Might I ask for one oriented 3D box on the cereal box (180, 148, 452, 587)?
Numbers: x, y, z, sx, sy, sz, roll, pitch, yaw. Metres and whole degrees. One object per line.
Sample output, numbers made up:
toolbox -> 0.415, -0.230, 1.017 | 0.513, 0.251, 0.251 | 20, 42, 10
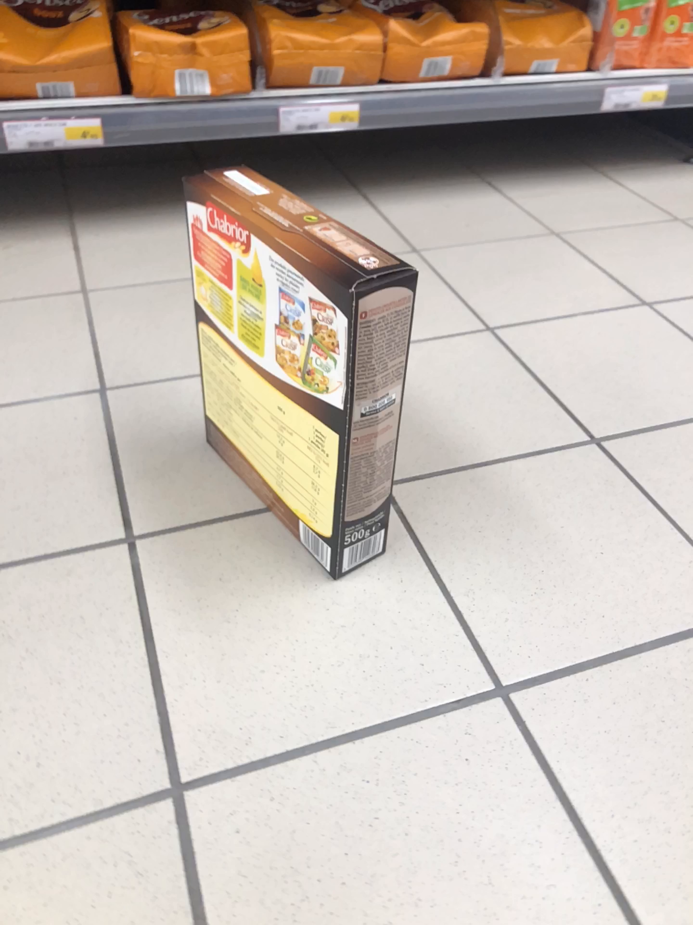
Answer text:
cereal box -> -0.031, -0.067, 0.529 | 0.060, 0.229, 0.200 | -23, 46, -29
